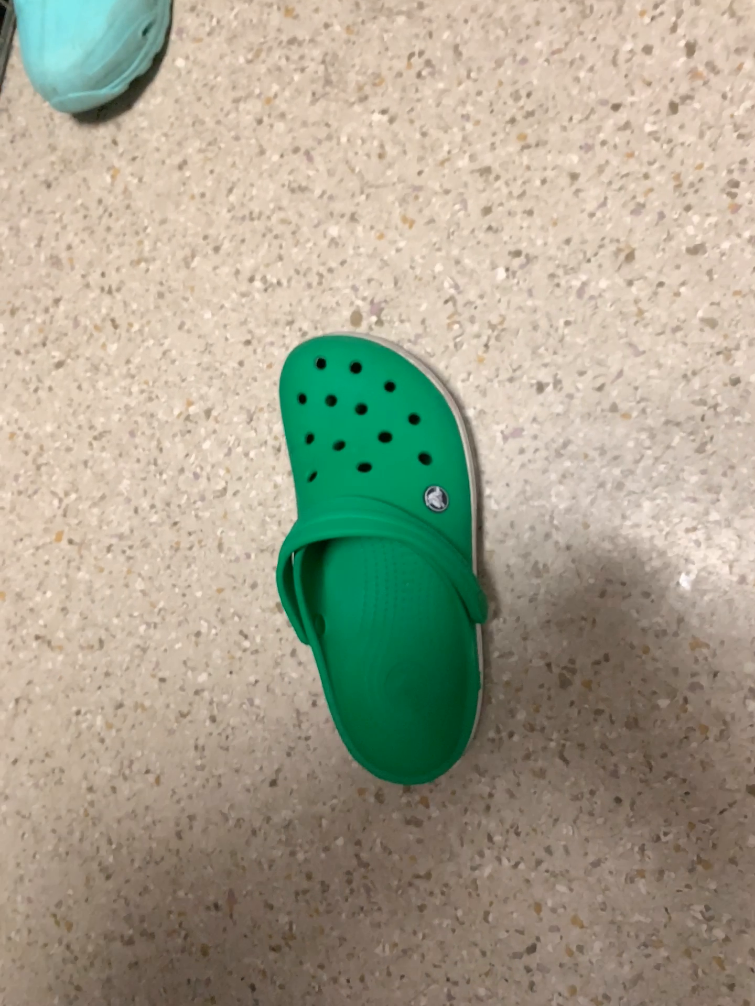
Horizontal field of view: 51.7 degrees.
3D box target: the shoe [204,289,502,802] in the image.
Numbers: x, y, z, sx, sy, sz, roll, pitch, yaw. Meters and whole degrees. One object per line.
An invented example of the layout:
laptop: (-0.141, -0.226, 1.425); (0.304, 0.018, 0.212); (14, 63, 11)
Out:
shoe: (-0.012, 0.024, 0.413); (0.108, 0.082, 0.234); (-9, 83, 19)
